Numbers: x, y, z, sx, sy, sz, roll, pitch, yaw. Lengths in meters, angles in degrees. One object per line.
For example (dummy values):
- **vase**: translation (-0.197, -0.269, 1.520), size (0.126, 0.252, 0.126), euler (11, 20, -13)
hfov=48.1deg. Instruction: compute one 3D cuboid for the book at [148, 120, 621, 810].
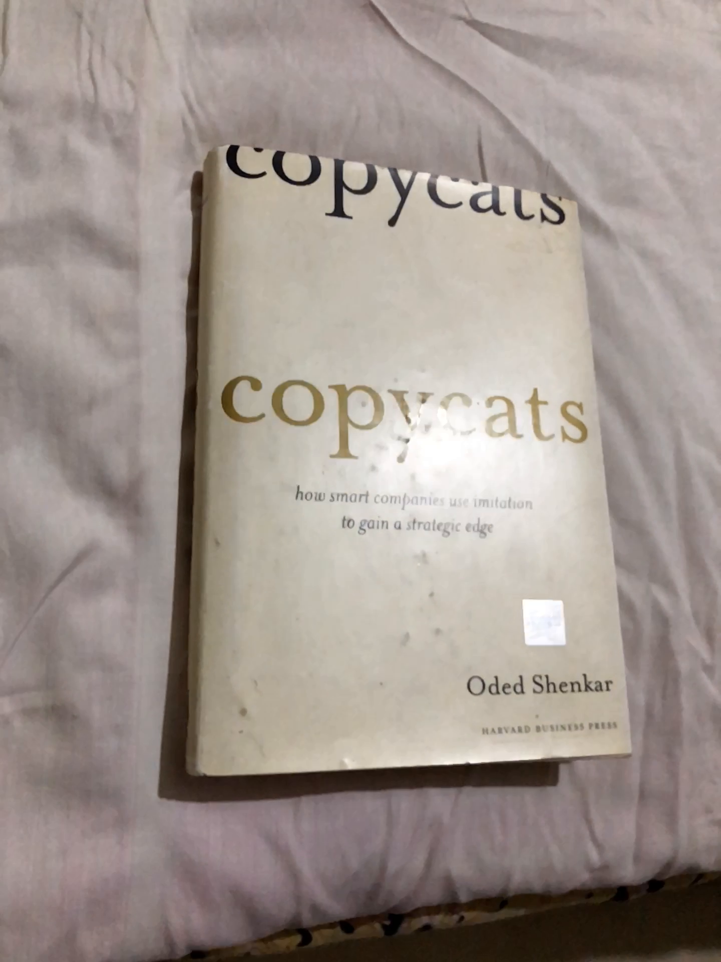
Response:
- **book**: translation (0.010, -0.007, 0.295), size (0.150, 0.040, 0.230), euler (4, 75, -13)
